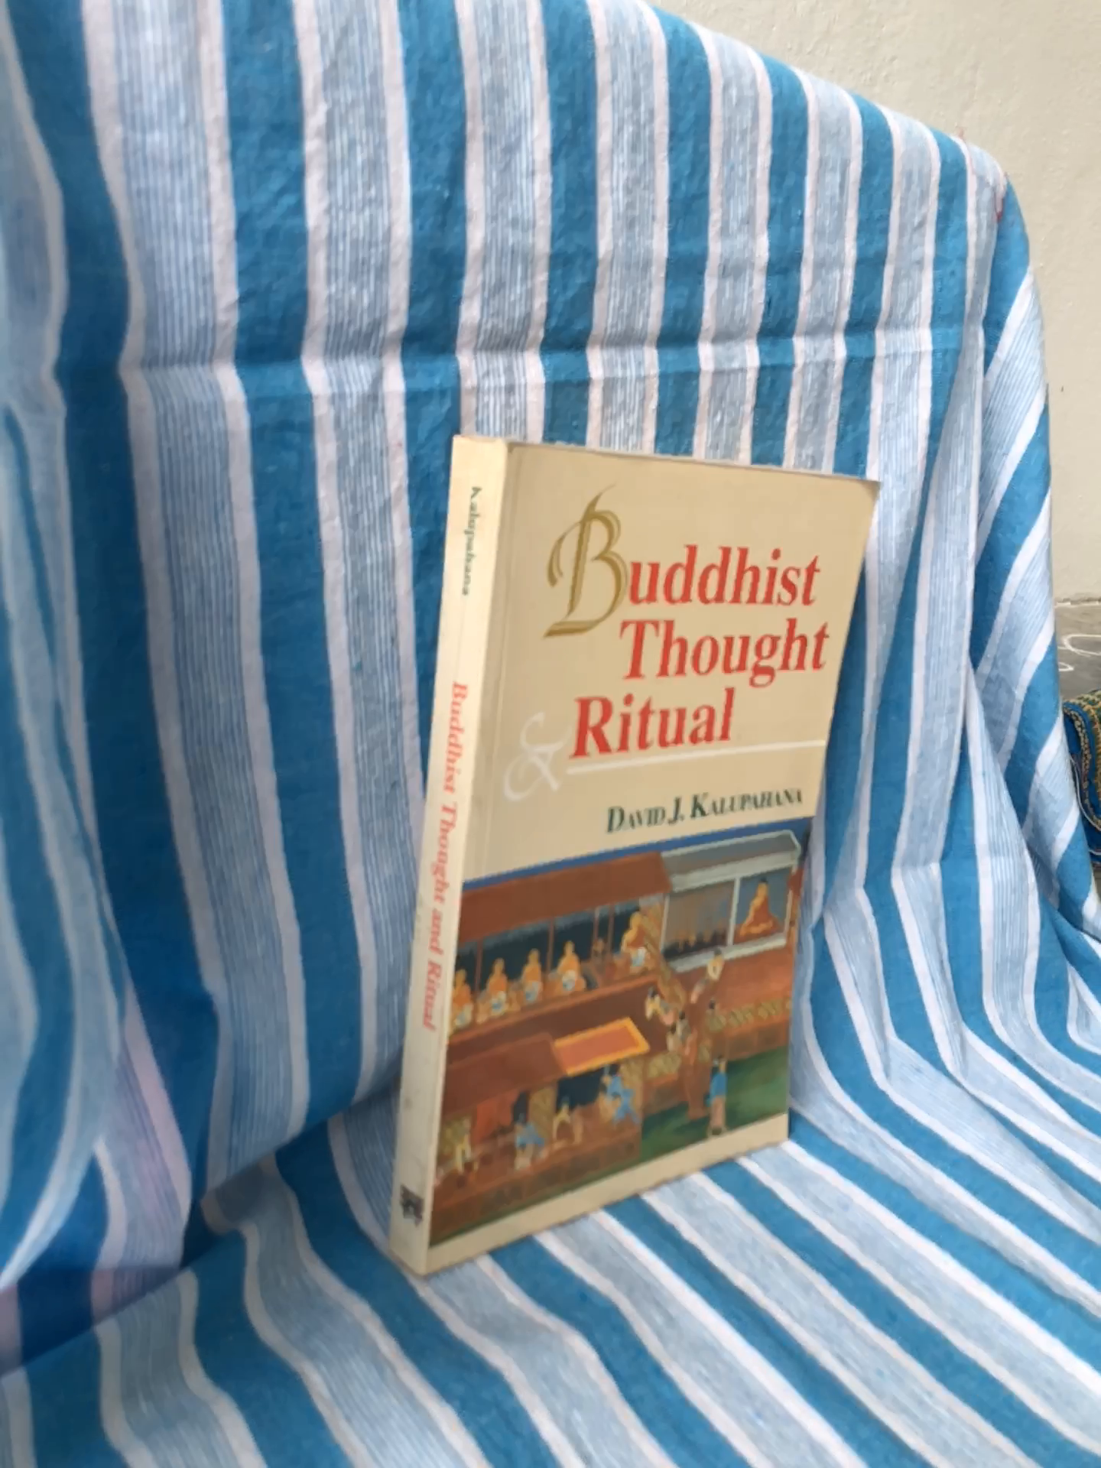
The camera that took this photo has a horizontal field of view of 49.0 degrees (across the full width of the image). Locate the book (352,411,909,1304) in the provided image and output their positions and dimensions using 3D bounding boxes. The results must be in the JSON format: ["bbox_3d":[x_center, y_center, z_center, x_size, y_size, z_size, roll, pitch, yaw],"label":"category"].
[{"bbox_3d":[0.026,0.032,0.335,0.151,0.219,0.020,-4,17,-39],"label":"book"}]
